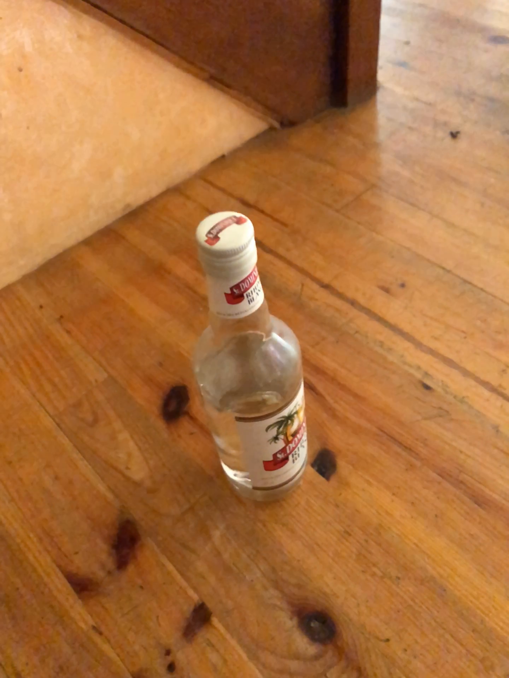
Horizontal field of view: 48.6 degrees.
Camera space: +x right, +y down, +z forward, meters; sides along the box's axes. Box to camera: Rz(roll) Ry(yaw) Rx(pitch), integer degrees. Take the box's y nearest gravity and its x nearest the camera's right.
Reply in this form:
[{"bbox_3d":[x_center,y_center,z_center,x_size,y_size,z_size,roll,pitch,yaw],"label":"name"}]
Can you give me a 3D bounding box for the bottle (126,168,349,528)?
[{"bbox_3d":[0.006,0.026,0.393,0.080,0.259,0.090,24,58,24],"label":"bottle"}]
